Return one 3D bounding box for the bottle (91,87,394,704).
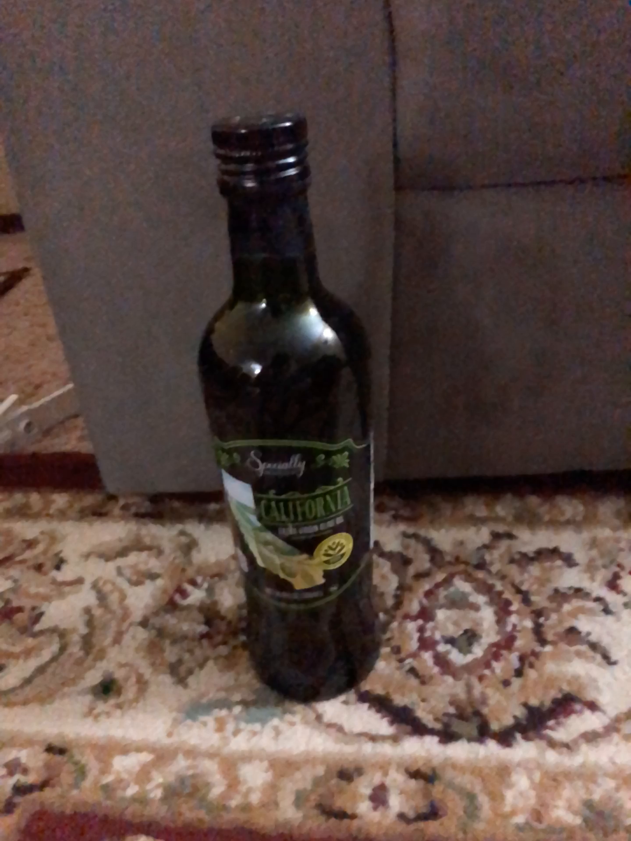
[{"bbox_3d":[-0.014,0.005,0.303,0.080,0.259,0.070,-3,29,6],"label":"bottle"}]
